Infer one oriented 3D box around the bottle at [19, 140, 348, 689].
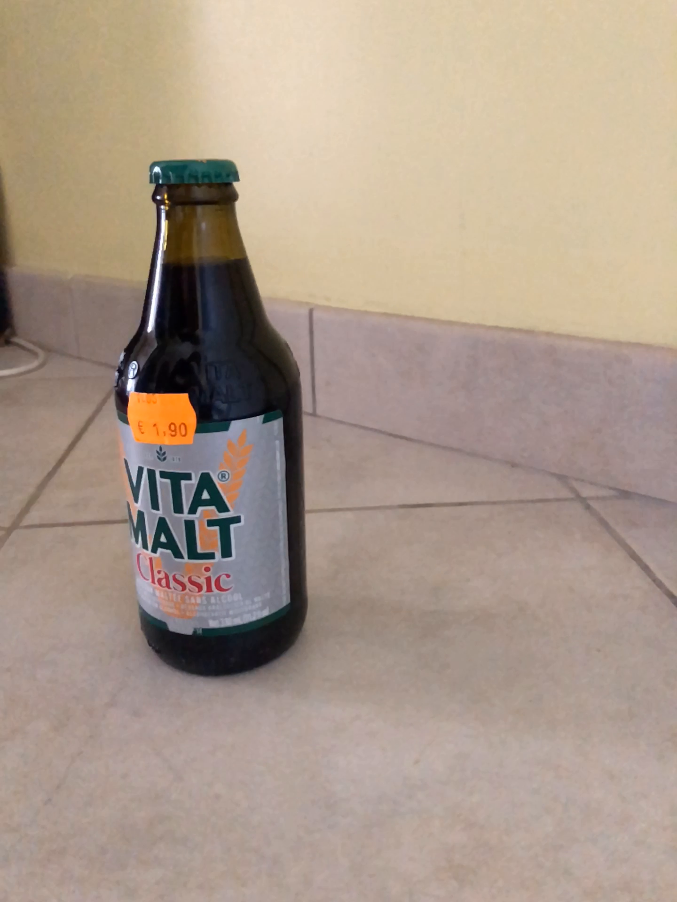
[{"bbox_3d":[-0.043,-0.016,0.262,0.070,0.169,0.070,-1,21,0],"label":"bottle"}]
